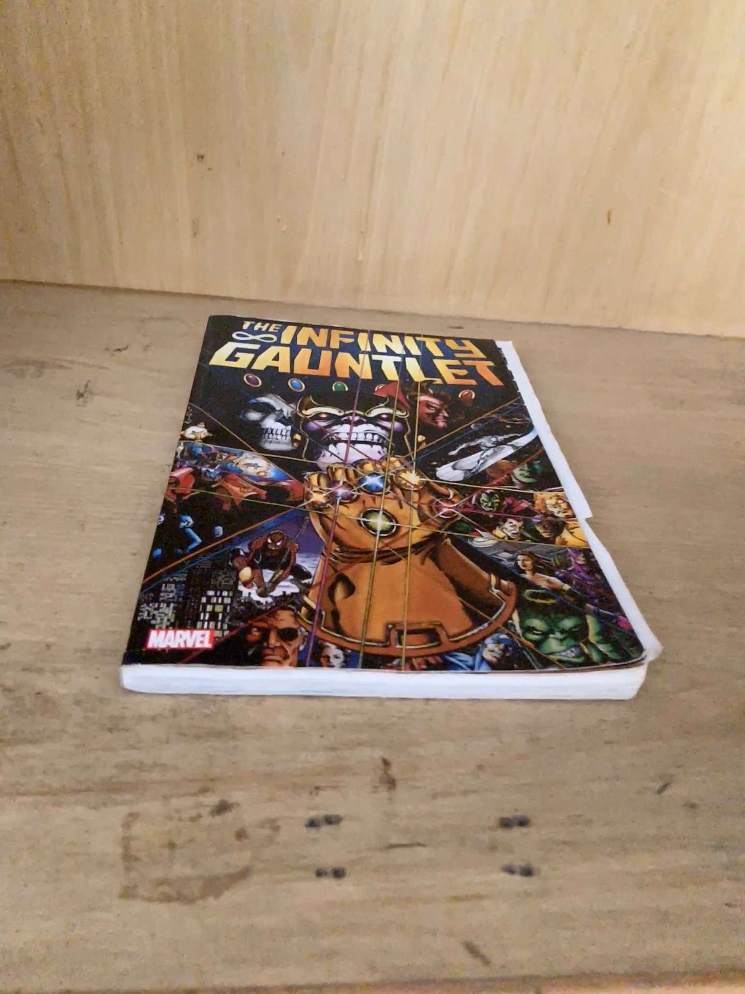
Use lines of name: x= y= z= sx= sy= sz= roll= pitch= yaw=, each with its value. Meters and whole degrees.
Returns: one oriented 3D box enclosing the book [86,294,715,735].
book: x=0.003 y=-0.018 z=0.347 sx=0.190 sy=0.030 sz=0.272 roll=3 pitch=36 yaw=-6
